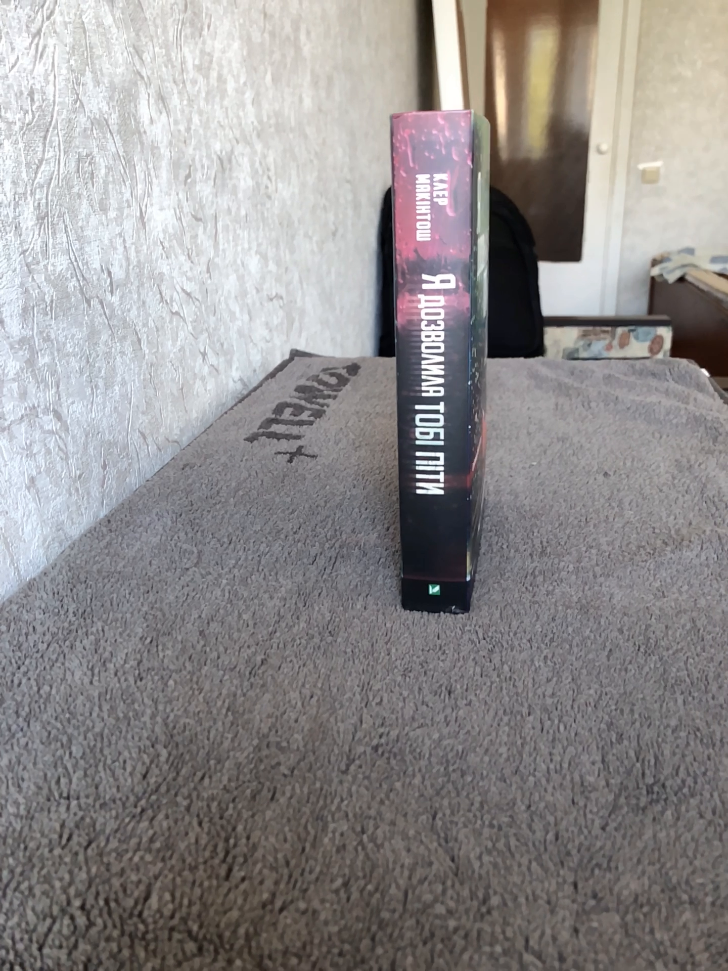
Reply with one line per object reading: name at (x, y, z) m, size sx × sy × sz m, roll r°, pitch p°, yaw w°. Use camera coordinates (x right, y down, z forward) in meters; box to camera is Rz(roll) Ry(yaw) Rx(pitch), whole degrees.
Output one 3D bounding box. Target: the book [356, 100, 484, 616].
book at (0.030, -0.064, 0.377) m, size 0.044 × 0.201 × 0.140 m, roll 1°, pitch 21°, yaw 7°
